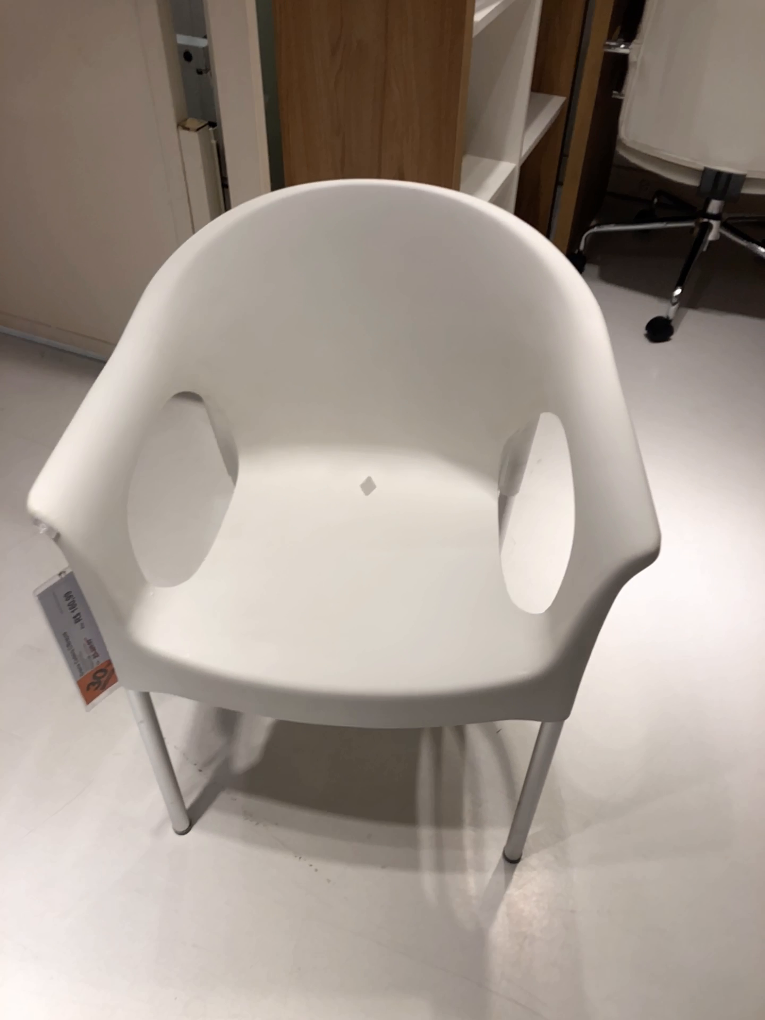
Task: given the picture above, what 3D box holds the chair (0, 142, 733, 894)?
[{"bbox_3d":[-0.013,0.021,1.124,0.610,0.734,0.615,5,45,4],"label":"chair"}]
